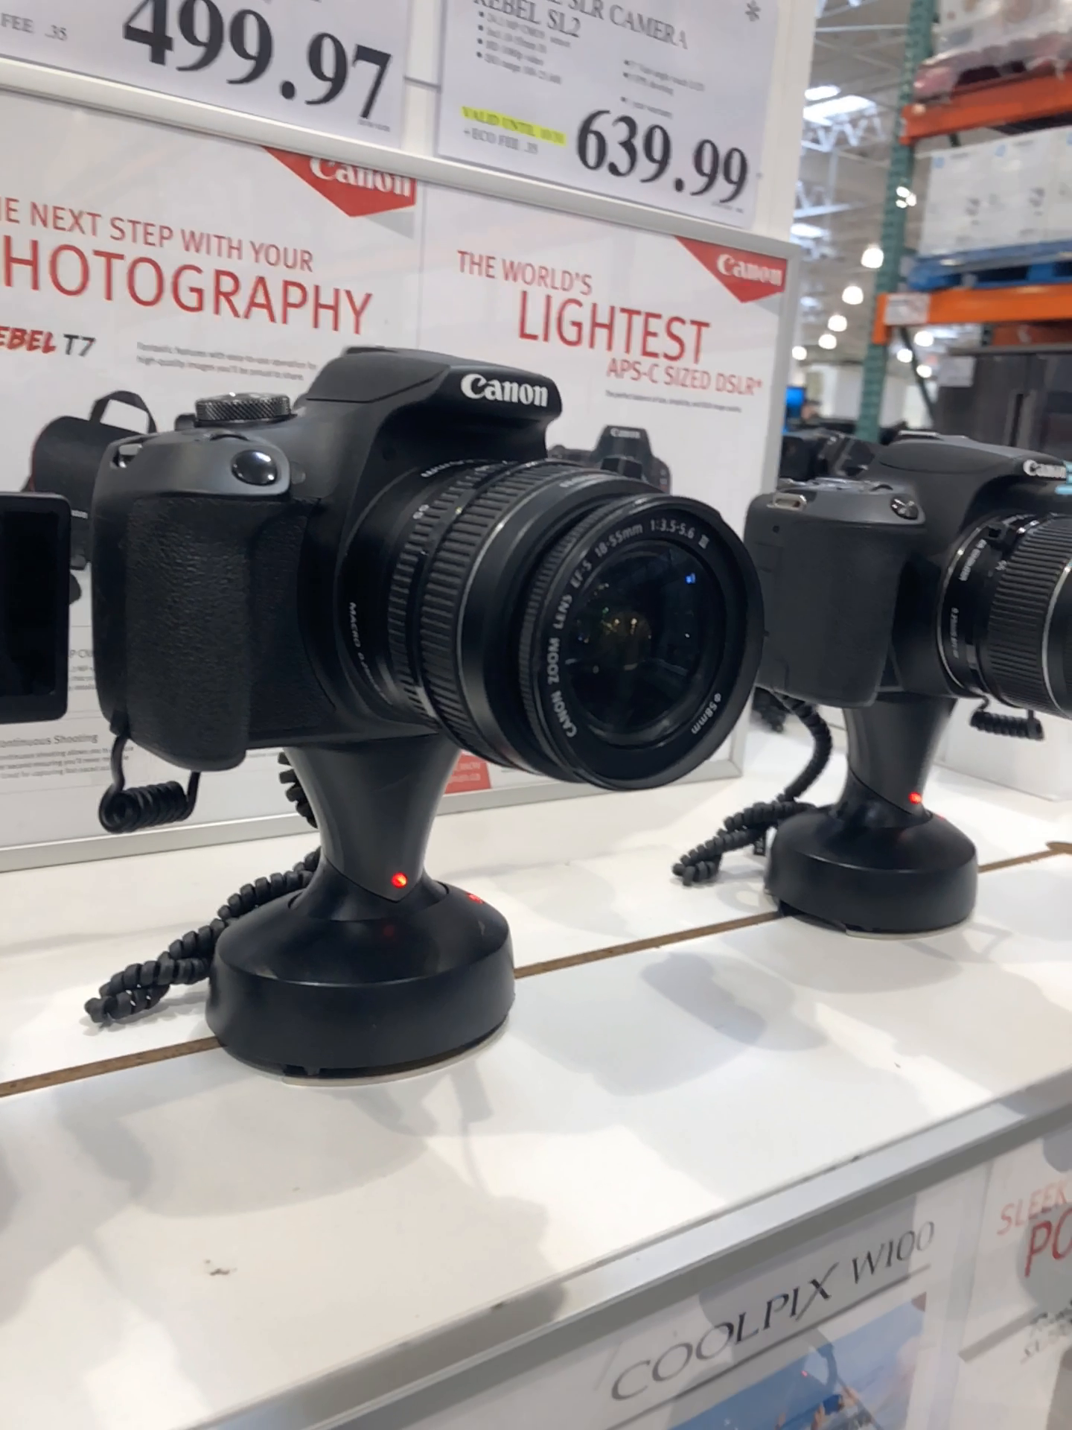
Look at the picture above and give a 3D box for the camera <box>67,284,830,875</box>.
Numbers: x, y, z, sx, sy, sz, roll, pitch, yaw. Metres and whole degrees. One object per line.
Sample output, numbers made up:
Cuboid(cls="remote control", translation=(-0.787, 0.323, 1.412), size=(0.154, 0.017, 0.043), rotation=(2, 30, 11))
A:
Cuboid(cls="camera", translation=(-0.032, -0.040, 0.292), size=(0.130, 0.100, 0.140), rotation=(-4, 15, -33))
